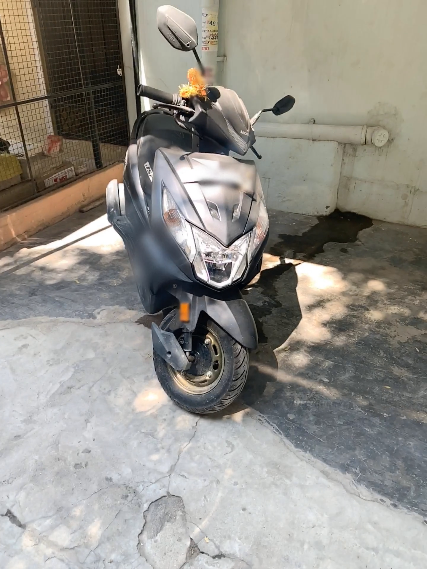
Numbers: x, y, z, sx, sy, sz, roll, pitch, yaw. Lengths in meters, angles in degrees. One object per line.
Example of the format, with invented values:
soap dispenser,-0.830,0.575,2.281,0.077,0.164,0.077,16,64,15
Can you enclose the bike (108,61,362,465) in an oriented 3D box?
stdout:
bike,-0.075,-0.250,2.106,0.502,1.277,1.516,-9,35,-17
